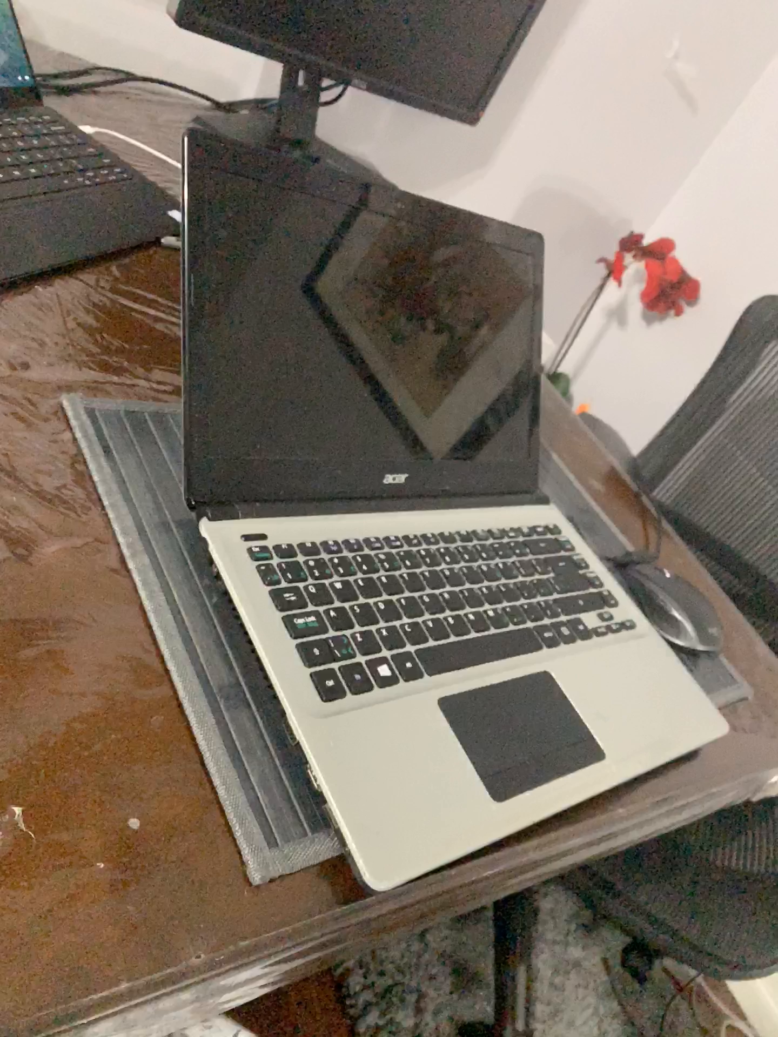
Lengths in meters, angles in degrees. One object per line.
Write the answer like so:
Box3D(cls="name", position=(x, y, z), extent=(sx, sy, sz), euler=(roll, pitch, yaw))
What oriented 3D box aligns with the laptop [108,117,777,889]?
Box3D(cls="laptop", position=(0.061, -0.039, 0.510), extent=(0.331, 0.146, 0.386), euler=(-3, 49, -42))
